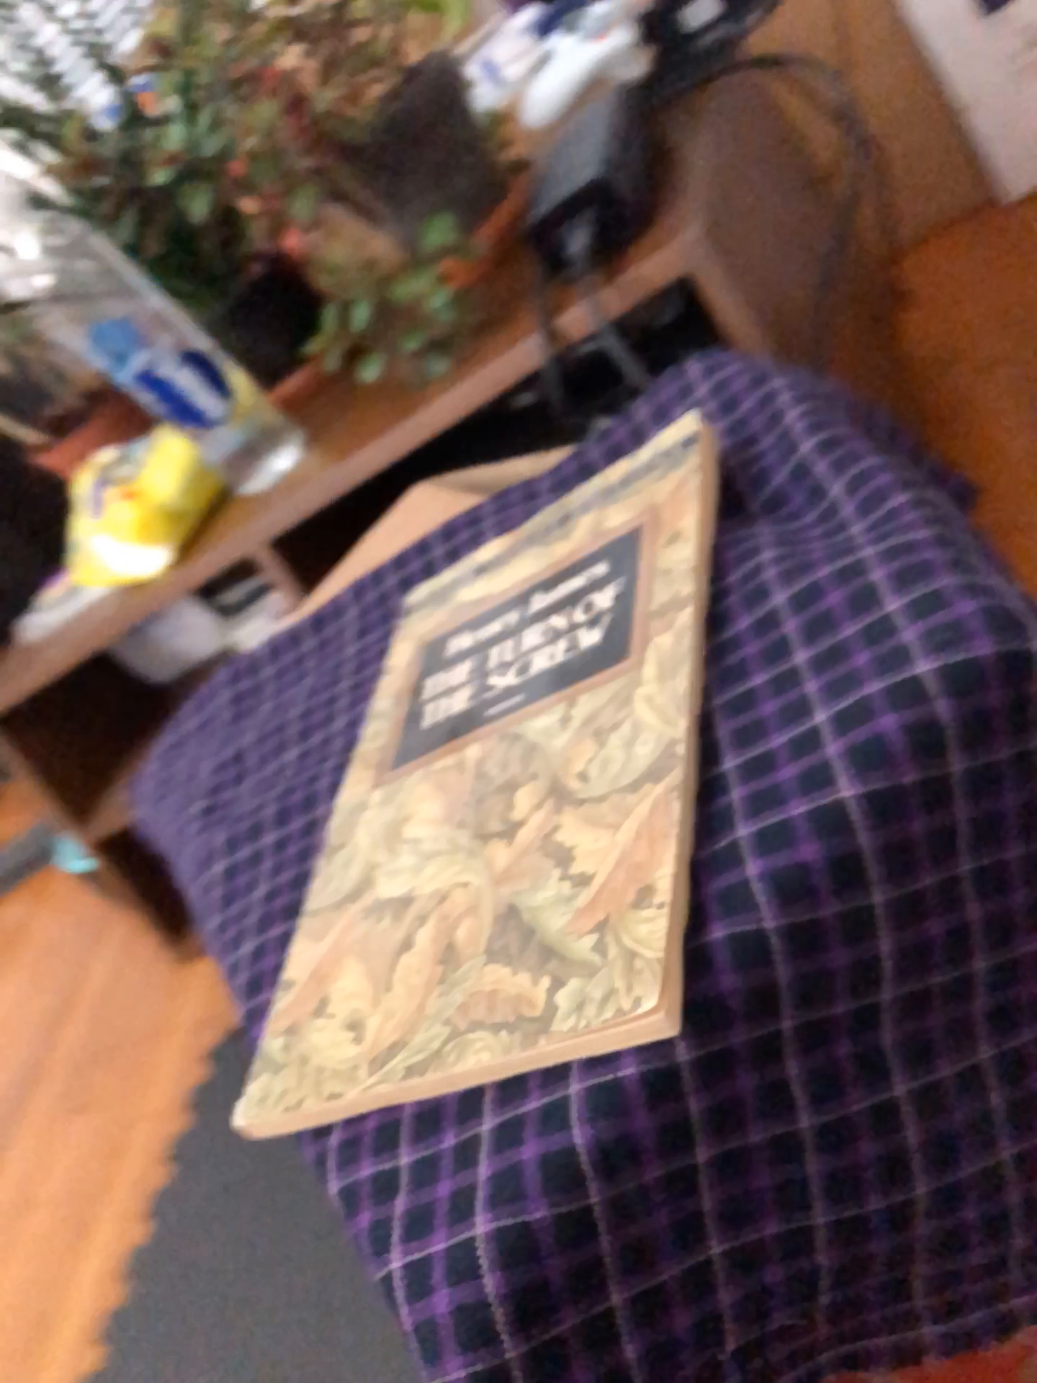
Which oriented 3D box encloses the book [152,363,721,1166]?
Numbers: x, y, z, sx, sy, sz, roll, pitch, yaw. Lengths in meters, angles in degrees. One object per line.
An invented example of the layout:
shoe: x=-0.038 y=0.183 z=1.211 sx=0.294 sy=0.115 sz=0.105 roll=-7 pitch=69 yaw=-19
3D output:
book: x=-0.012 y=0.007 z=0.313 sx=0.140 sy=0.010 sz=0.221 roll=-25 pitch=35 yaw=32
